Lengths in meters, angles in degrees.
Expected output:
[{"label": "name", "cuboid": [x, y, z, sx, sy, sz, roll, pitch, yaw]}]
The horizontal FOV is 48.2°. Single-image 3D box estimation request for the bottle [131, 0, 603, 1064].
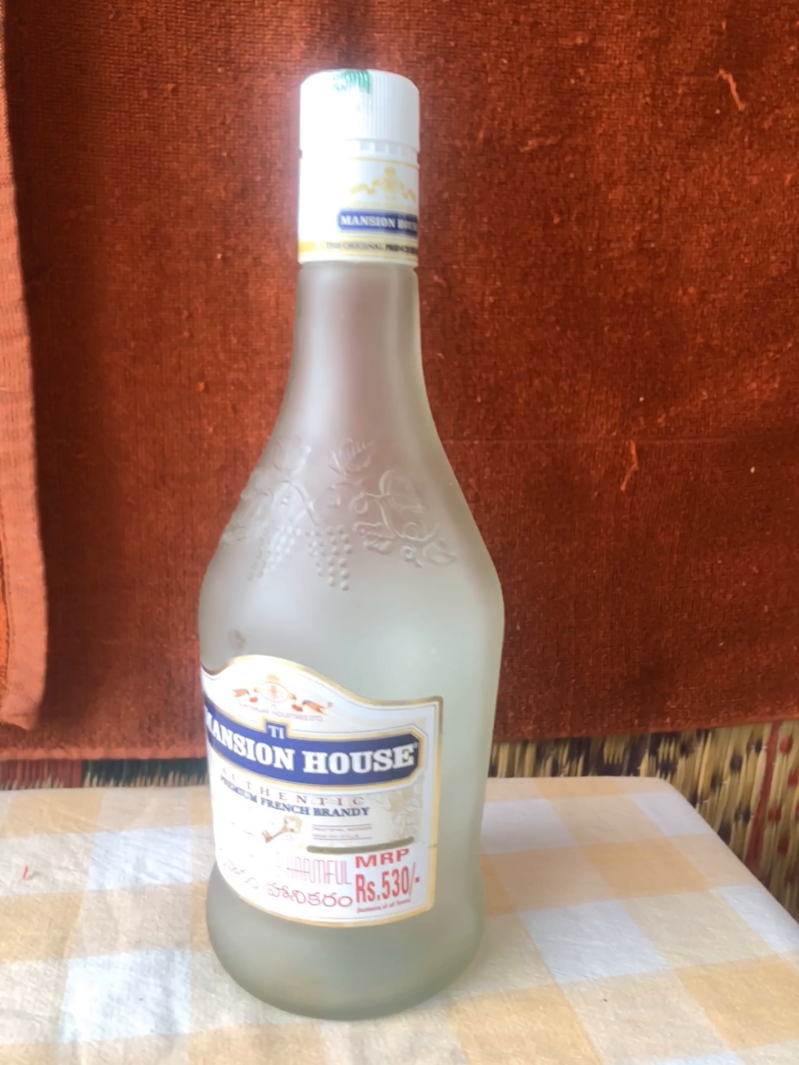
[{"label": "bottle", "cuboid": [-0.010, 0.001, 0.258, 0.090, 0.249, 0.090, 3, 13, -1]}]
